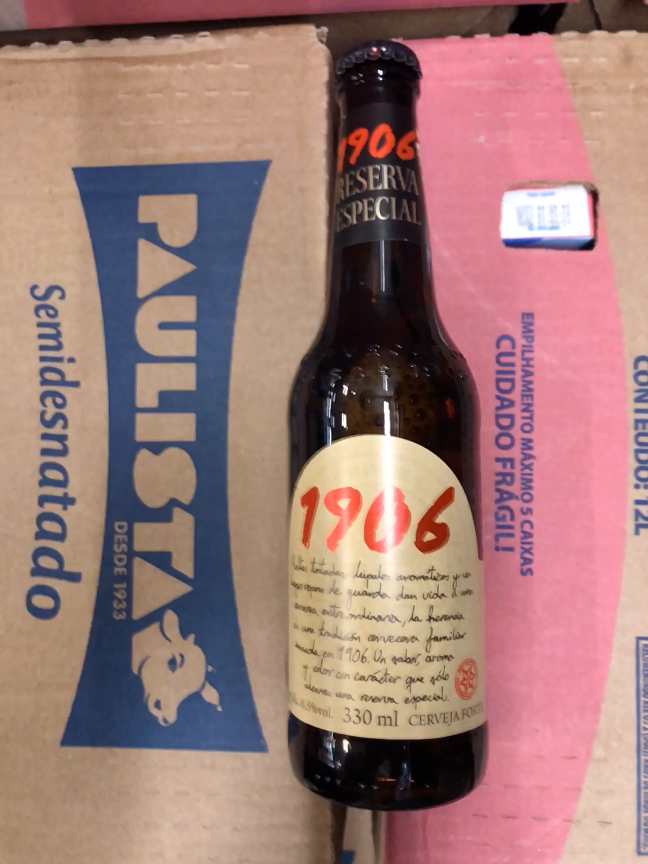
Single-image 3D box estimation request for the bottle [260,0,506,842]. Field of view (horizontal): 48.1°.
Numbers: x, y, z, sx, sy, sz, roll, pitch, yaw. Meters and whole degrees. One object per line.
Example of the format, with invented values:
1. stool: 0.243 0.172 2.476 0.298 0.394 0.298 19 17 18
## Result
1. bottle: 0.019 -0.018 0.243 0.070 0.060 0.270 0 88 2
